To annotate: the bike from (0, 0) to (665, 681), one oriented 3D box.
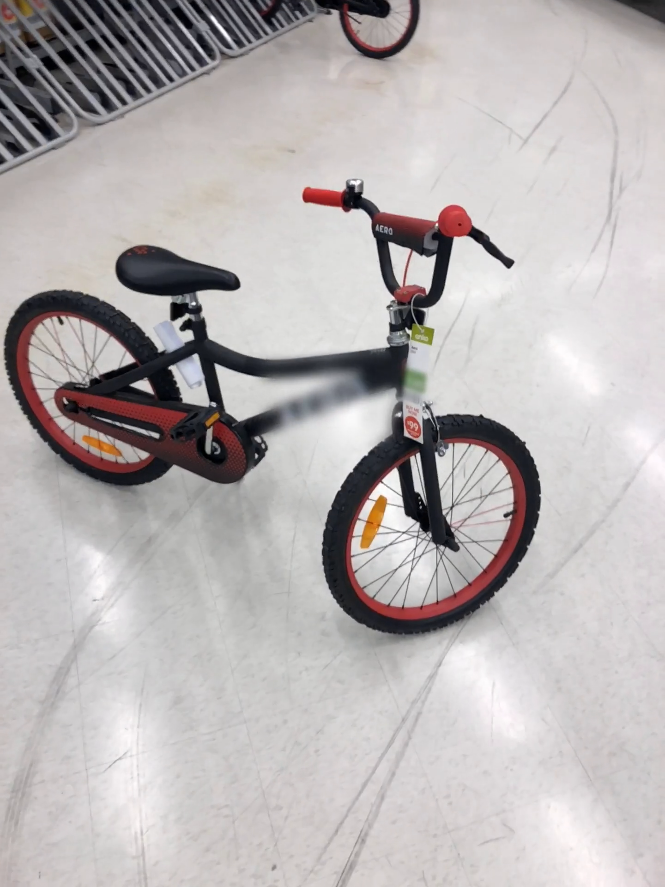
[{"bbox_3d":[-0.138,-0.205,1.463,1.246,0.924,0.628,15,45,9],"label":"bike"}]
